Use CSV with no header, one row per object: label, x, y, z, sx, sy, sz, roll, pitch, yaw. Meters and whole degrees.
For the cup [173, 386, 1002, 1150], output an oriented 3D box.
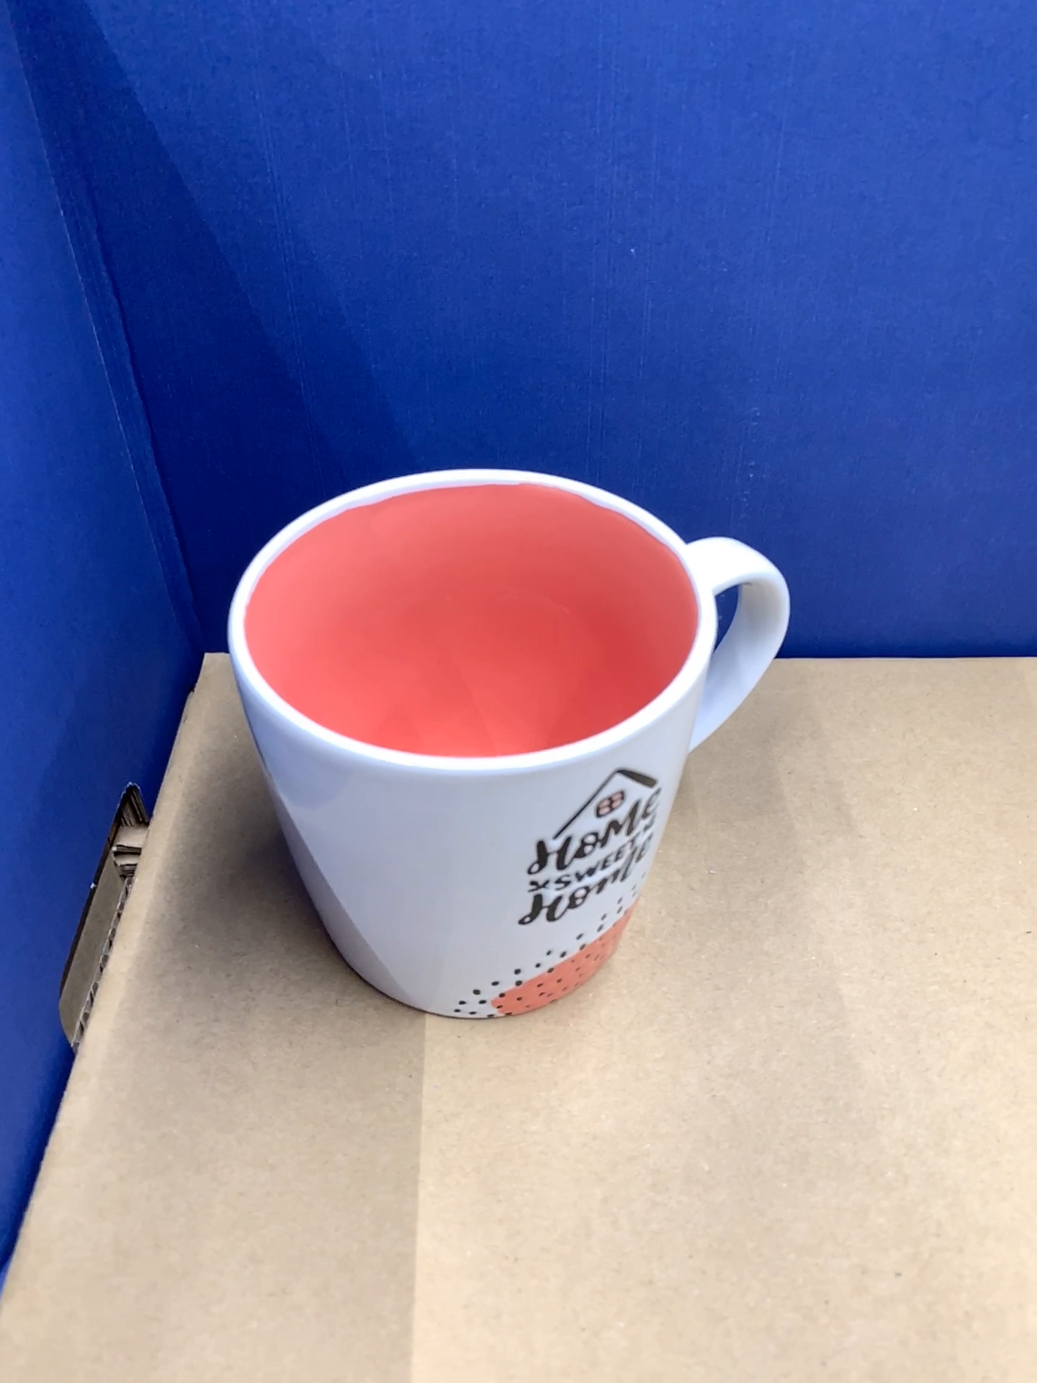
cup,0.013,0.004,0.206,0.115,0.070,0.083,-28,47,-28
